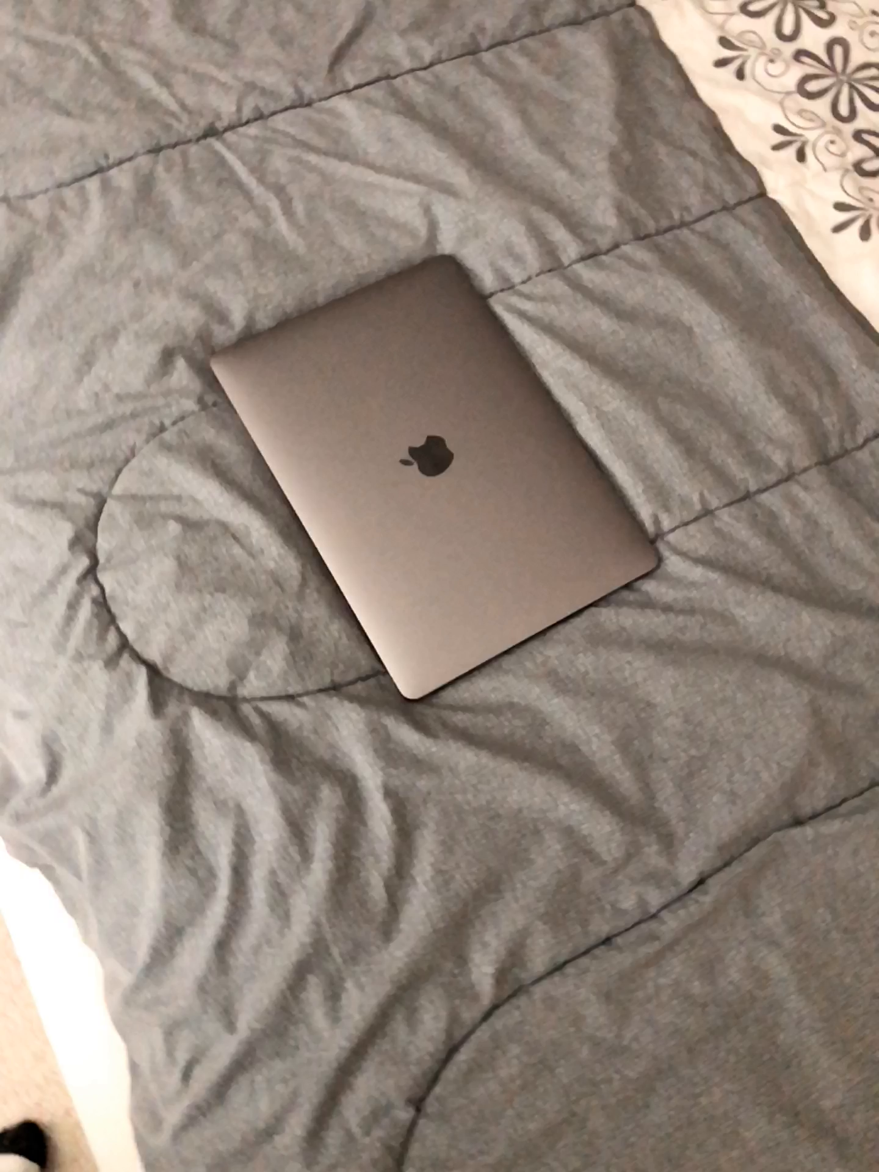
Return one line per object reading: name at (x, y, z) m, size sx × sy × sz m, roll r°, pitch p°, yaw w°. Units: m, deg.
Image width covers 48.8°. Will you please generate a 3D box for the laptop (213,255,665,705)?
laptop at (-0.005, -0.091, 0.707) m, size 0.207 × 0.008 × 0.295 m, roll -28°, pitch 74°, yaw -12°
